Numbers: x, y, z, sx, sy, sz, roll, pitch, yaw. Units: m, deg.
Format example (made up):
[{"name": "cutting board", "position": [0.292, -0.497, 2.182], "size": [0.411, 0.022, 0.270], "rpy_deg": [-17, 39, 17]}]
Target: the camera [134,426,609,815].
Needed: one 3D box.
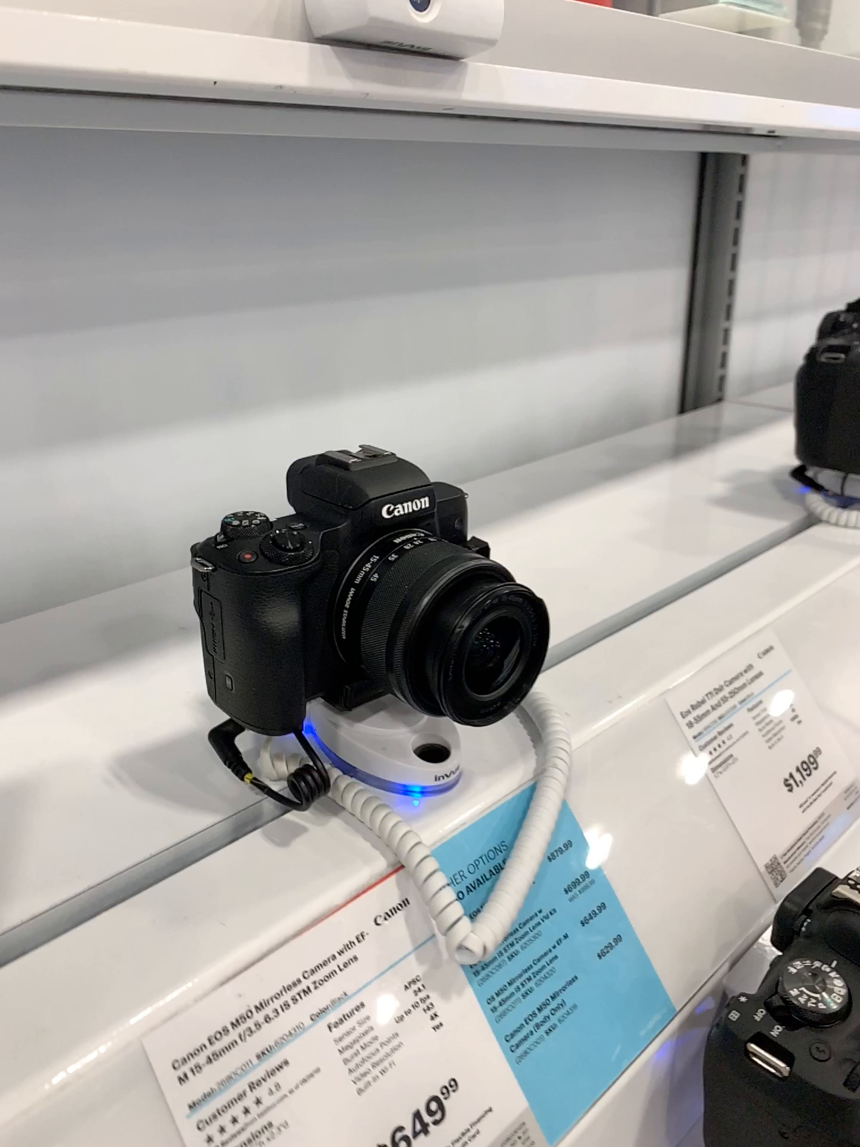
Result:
[{"name": "camera", "position": [-0.019, 0.004, 0.334], "size": [0.130, 0.080, 0.110], "rpy_deg": [-21, 29, -39]}]
